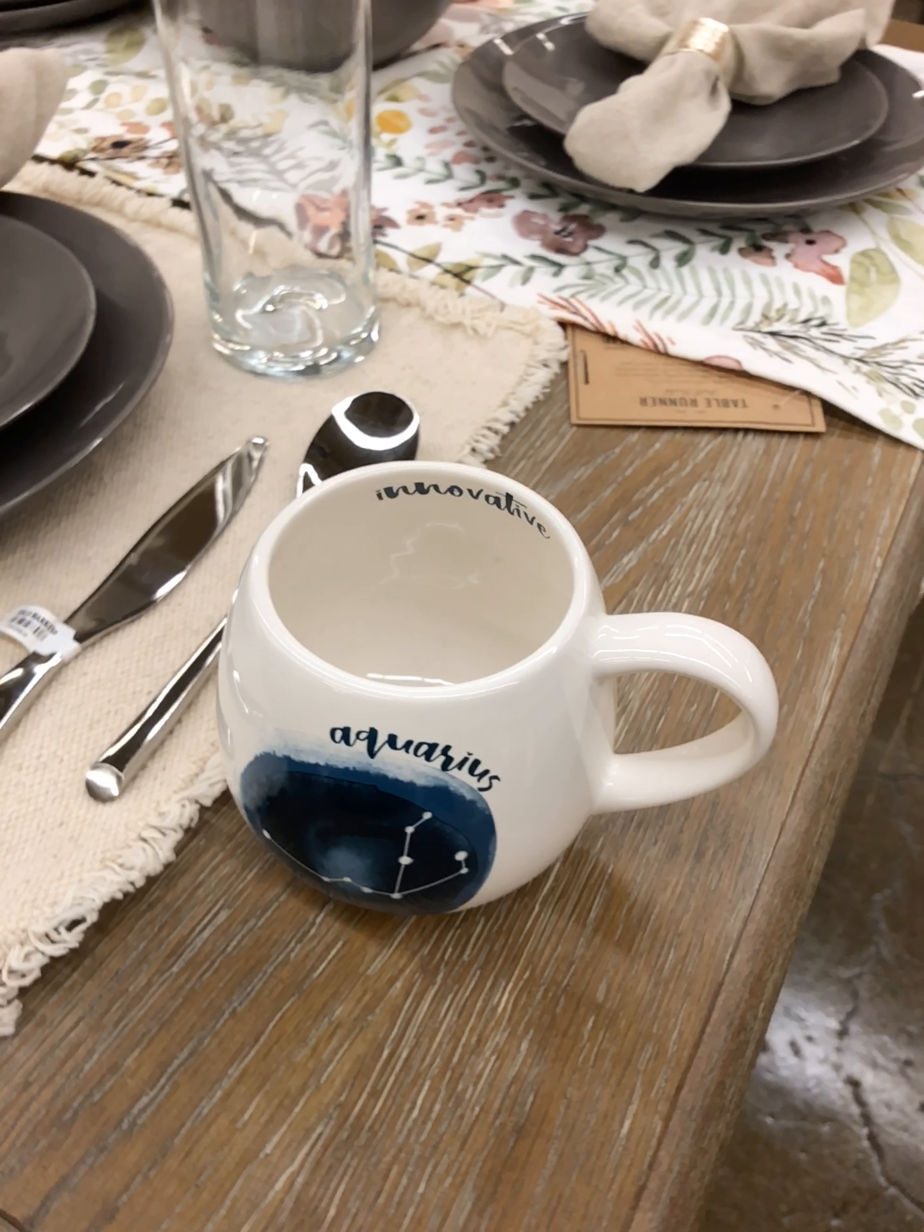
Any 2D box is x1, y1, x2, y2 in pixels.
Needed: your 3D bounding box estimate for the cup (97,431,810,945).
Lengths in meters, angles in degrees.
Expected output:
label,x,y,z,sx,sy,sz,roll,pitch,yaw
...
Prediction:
label,x,y,z,sx,sy,sz,roll,pitch,yaw
cup,-0.001,0.017,0.251,0.134,0.081,0.083,4,47,2
